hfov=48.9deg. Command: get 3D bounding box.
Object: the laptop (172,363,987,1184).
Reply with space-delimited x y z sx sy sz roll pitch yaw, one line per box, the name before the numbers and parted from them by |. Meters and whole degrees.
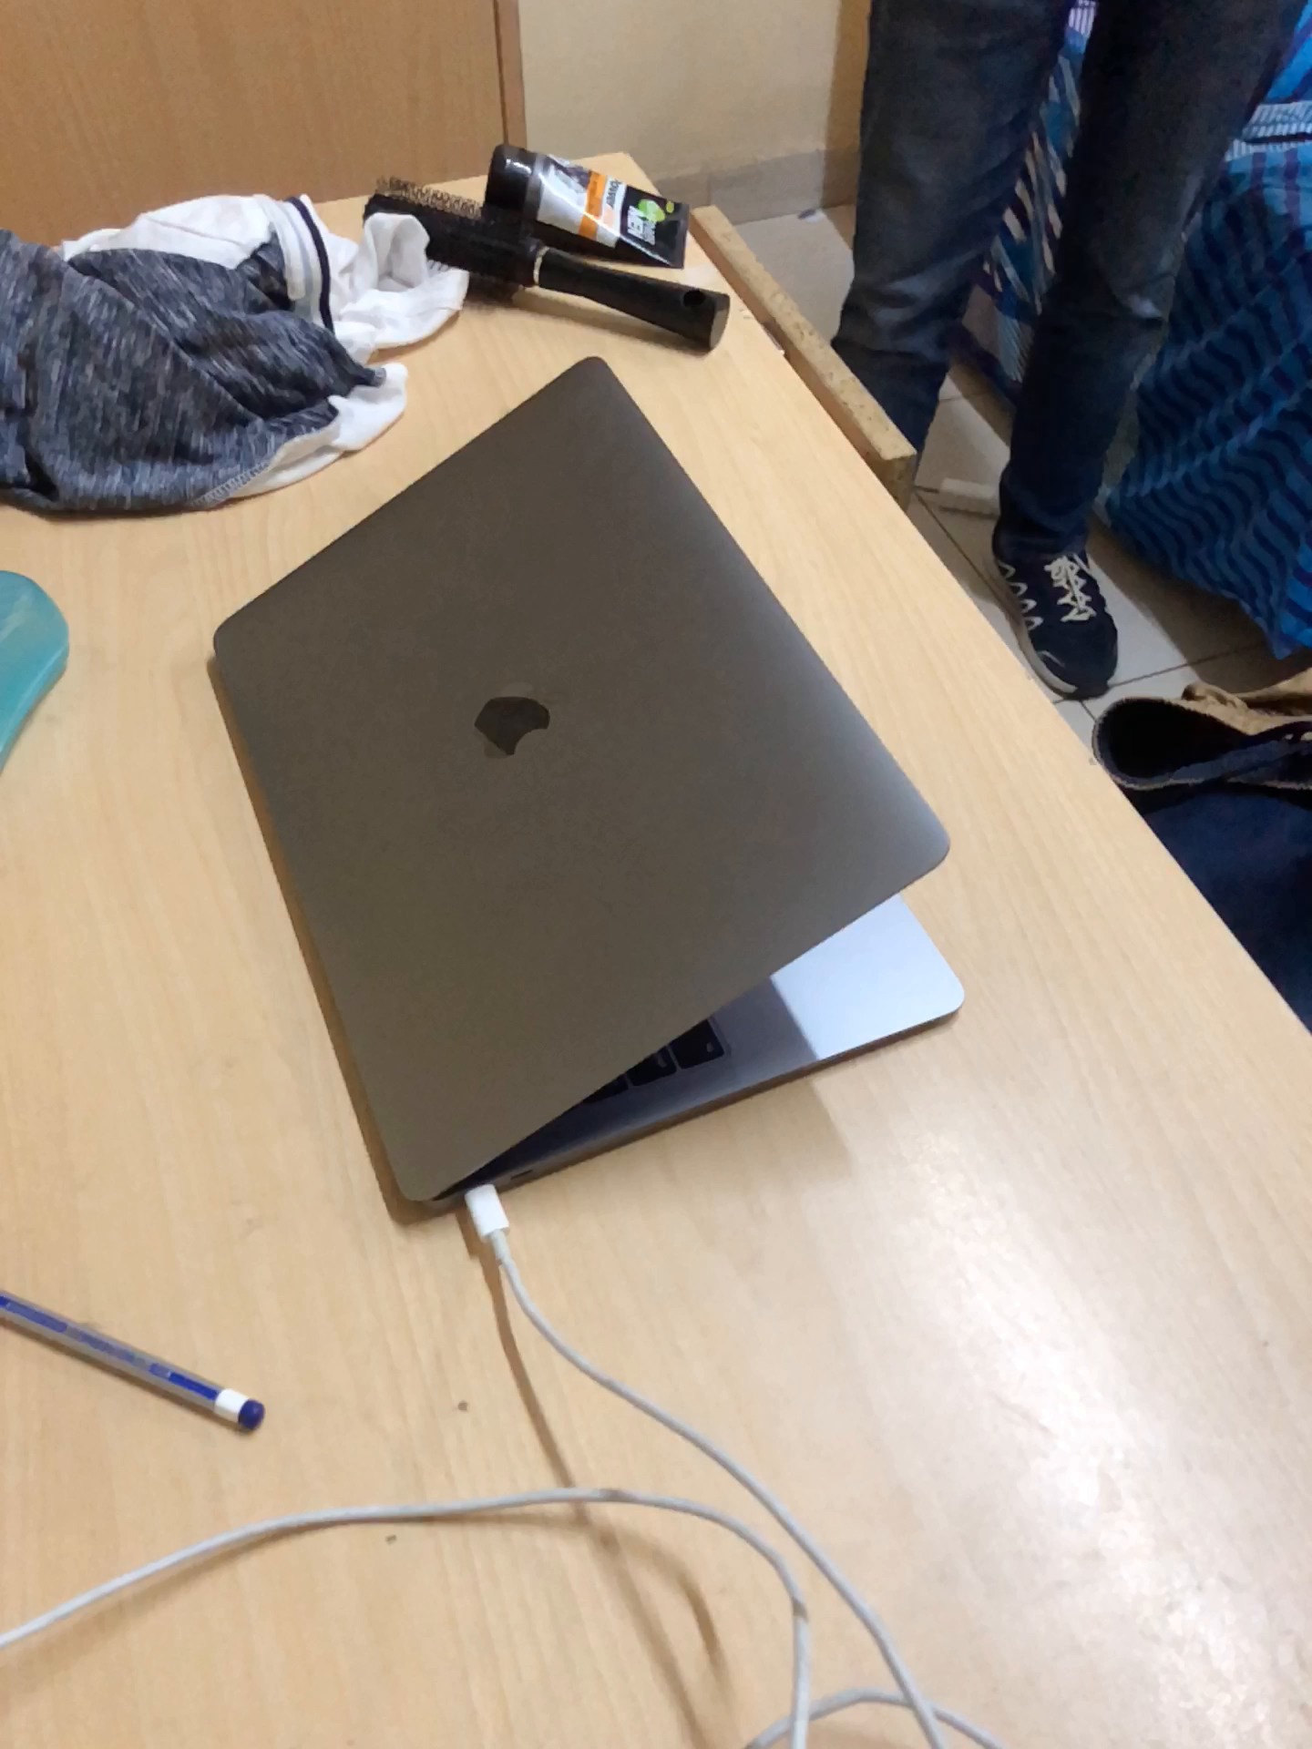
laptop | -0.043 -0.060 0.552 0.193 0.094 0.295 -18 53 -16
